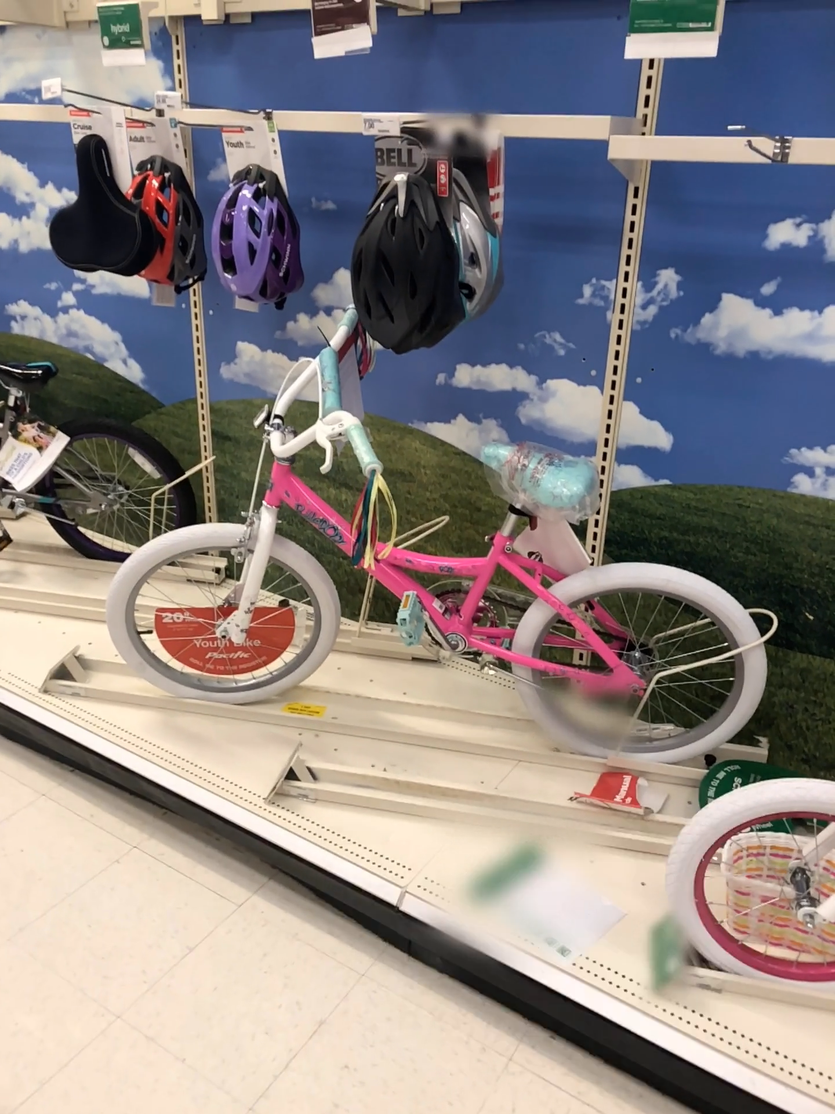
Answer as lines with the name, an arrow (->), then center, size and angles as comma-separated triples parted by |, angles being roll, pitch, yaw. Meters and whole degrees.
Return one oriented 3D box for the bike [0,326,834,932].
bike -> 0.018, 0.050, 1.841 | 1.346, 0.882, 0.730 | 4, 23, 10
